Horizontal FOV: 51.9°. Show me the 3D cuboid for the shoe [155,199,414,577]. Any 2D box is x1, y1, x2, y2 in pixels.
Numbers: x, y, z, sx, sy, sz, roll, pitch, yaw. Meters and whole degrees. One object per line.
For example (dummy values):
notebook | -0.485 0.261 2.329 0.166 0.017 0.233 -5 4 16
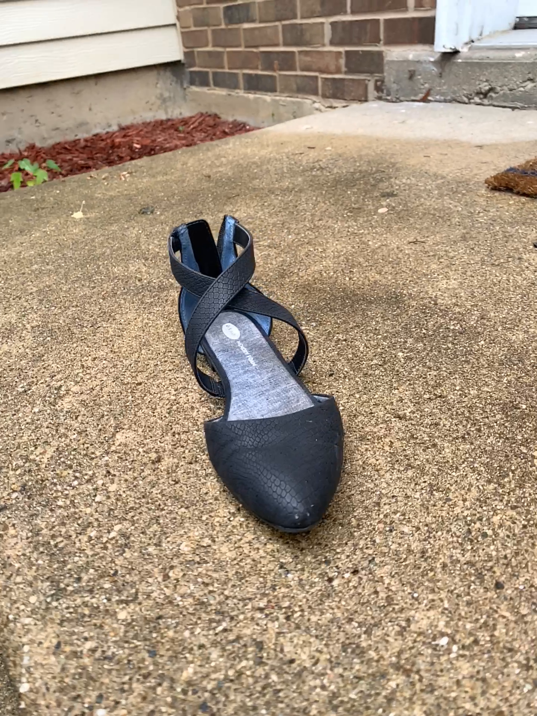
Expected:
shoe | -0.008 -0.009 0.377 0.097 0.112 0.264 -12 33 -9
